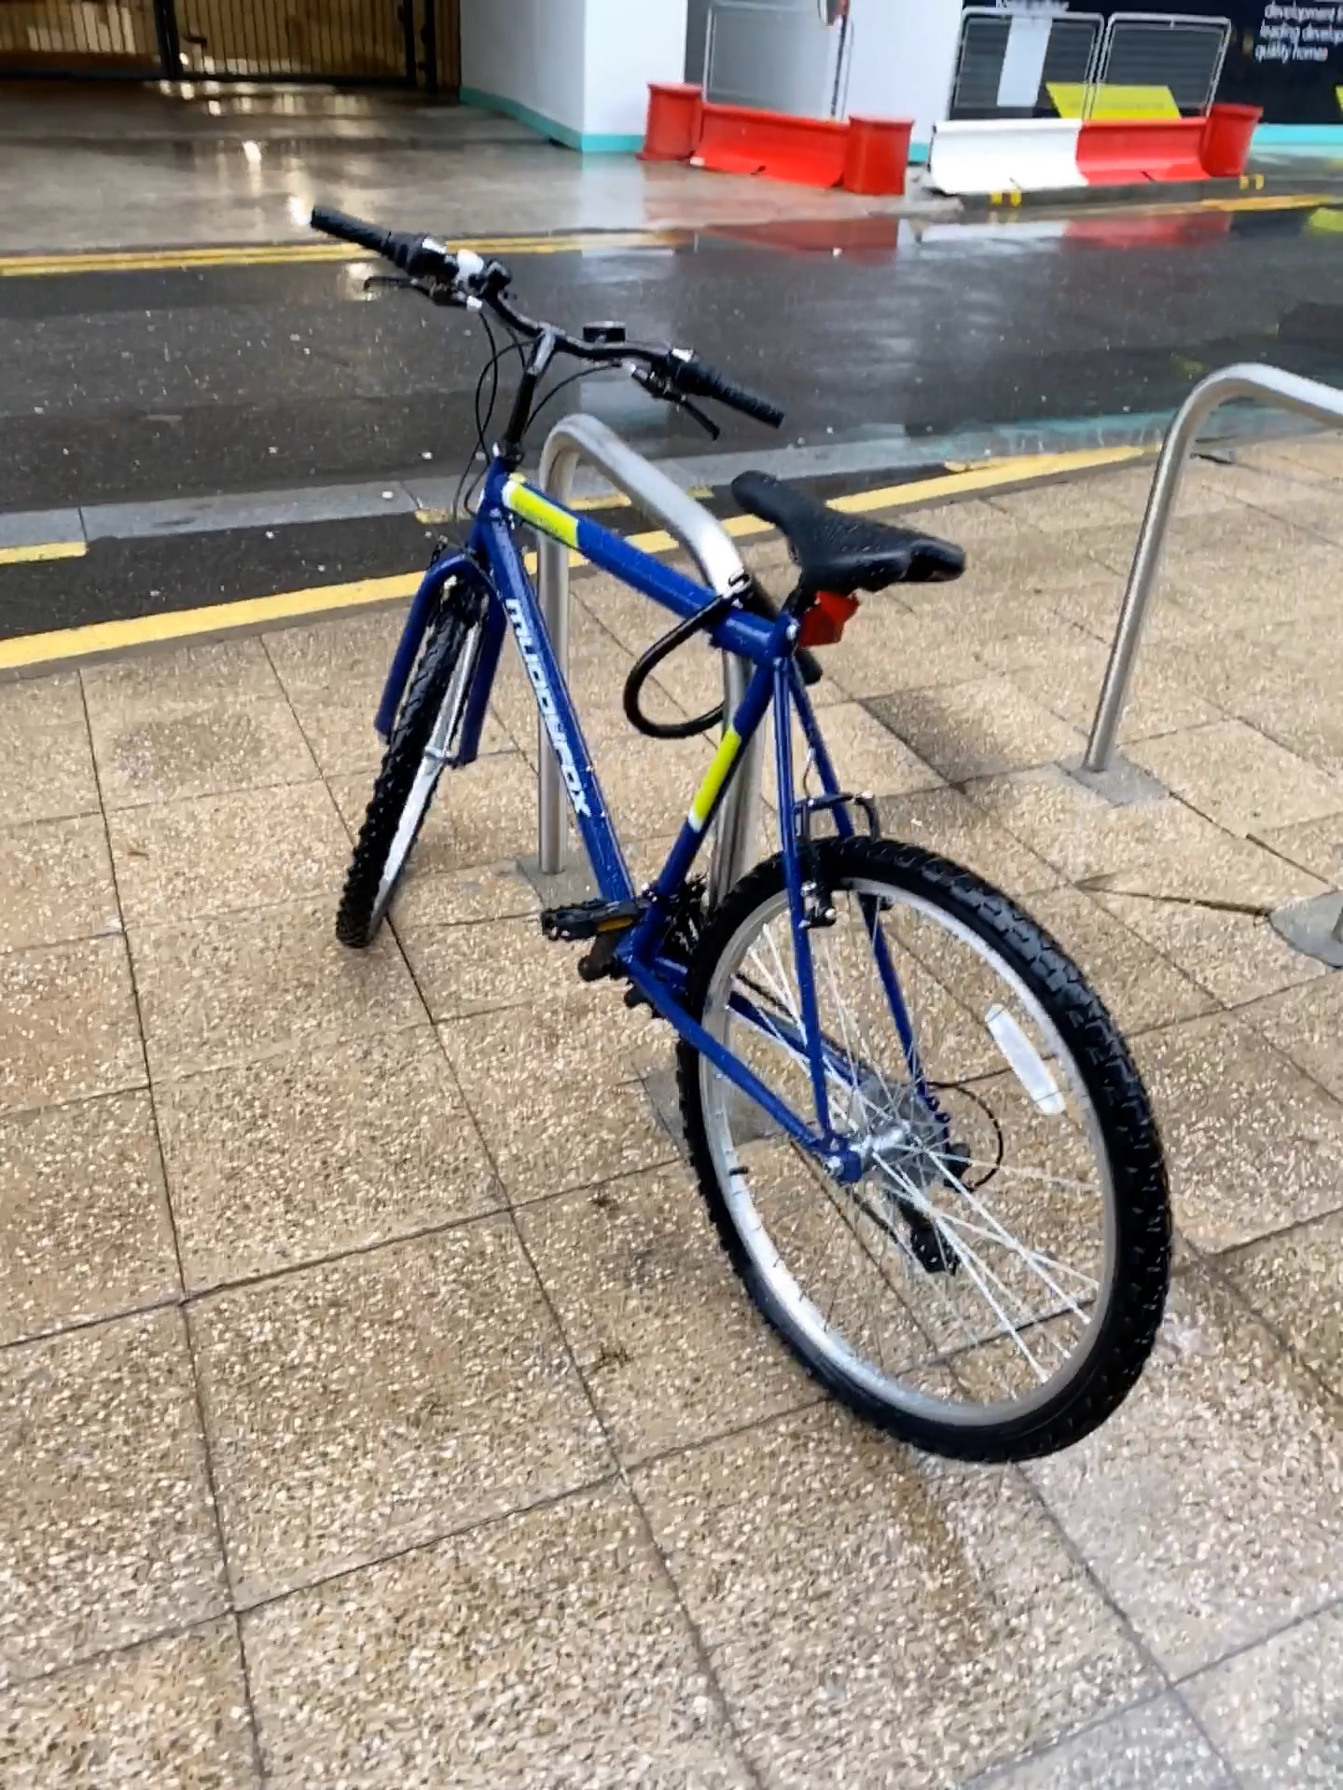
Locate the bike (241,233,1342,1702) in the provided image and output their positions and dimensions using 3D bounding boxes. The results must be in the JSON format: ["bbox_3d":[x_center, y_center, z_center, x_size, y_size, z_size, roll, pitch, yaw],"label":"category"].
[{"bbox_3d":[0.040,-0.150,1.661,0.598,1.012,1.599,-16,36,-25],"label":"bike"}]
